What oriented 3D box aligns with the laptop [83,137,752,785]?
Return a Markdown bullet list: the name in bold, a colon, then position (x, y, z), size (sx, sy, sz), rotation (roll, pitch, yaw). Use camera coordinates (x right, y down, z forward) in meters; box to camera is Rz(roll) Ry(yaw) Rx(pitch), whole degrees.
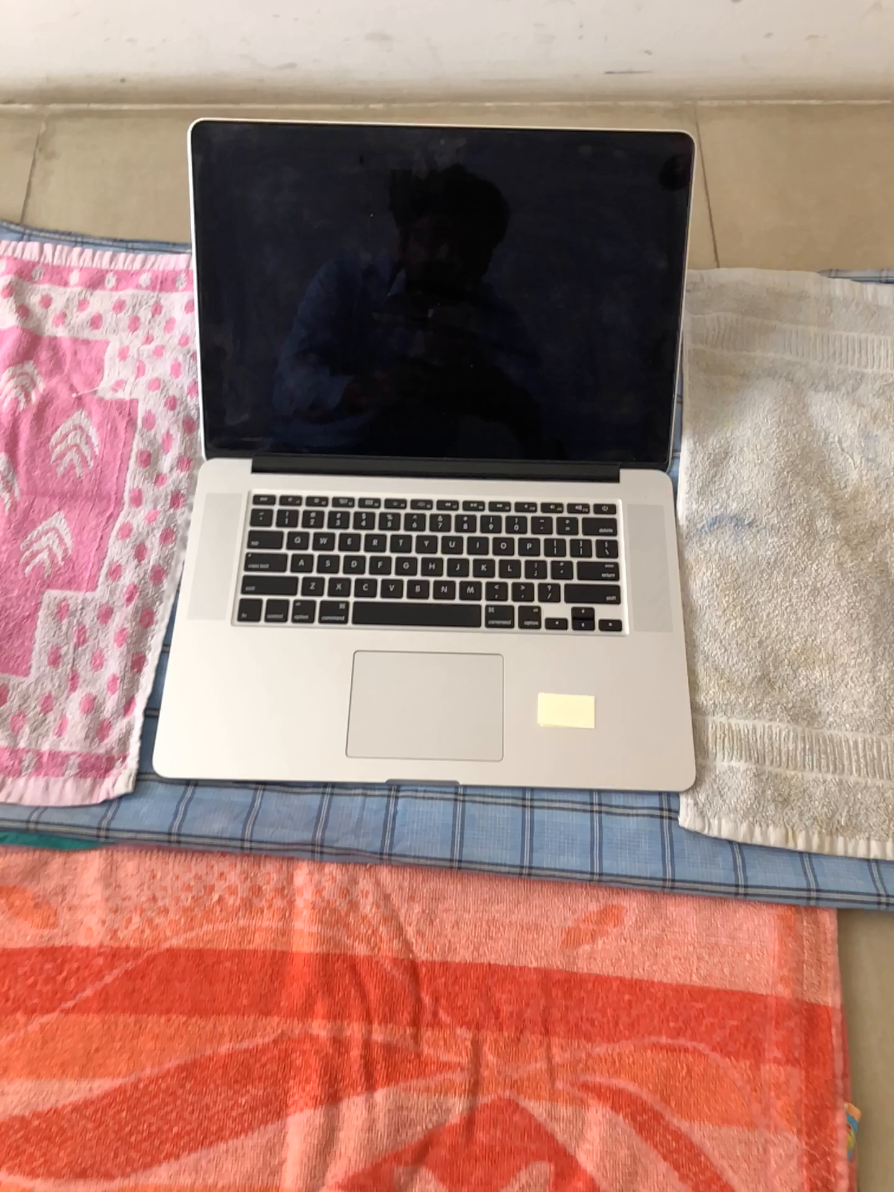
- **laptop**: position (-0.009, -0.097, 0.656), size (0.343, 0.144, 0.414), rotation (1, 66, 2)
